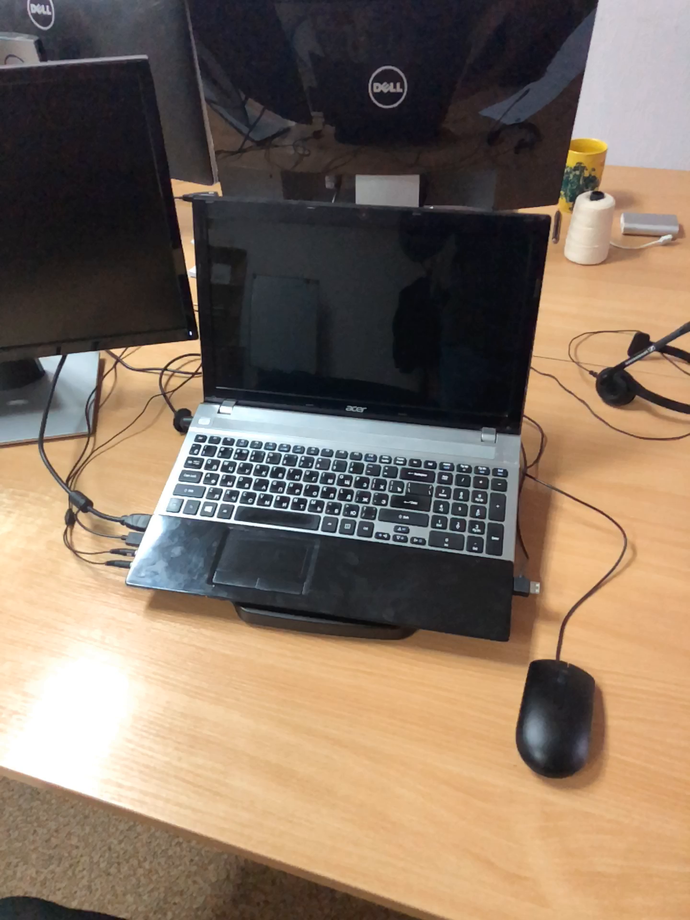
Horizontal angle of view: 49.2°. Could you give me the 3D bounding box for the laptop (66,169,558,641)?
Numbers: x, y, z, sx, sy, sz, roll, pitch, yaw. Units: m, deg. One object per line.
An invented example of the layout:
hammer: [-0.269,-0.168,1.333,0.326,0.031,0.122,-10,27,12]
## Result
laptop: [-0.002,-0.075,0.743,0.370,0.215,0.353,6,50,10]
